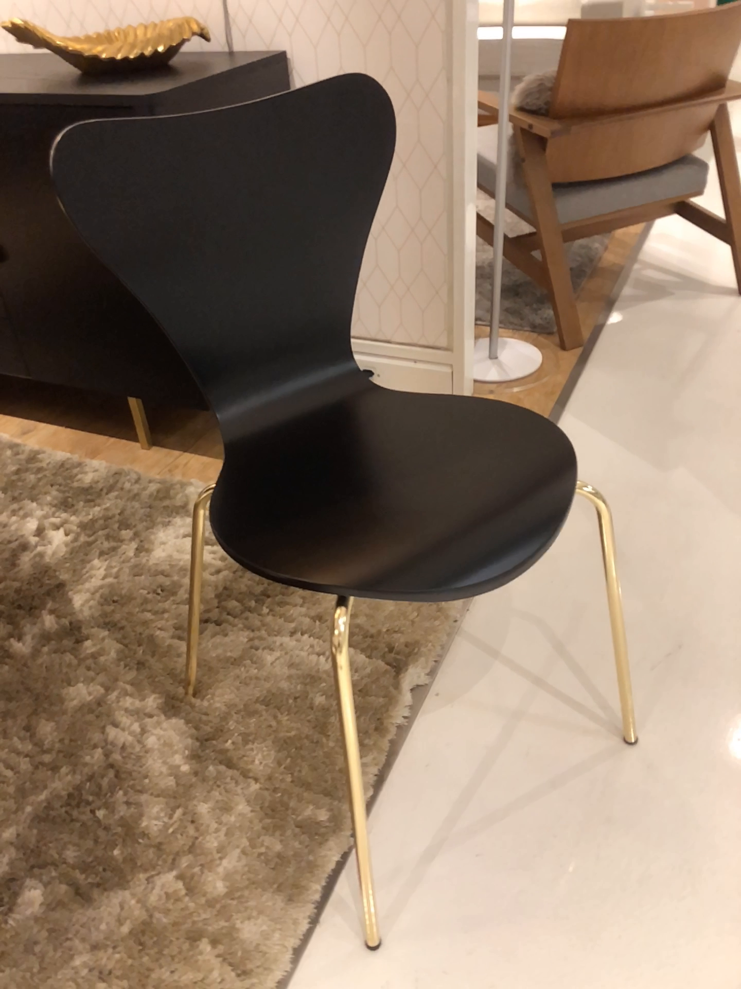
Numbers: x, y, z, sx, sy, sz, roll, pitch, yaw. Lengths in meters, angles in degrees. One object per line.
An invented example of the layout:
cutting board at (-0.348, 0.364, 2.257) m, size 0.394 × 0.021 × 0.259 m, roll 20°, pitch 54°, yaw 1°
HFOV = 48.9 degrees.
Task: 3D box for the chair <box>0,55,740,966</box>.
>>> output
chair at (0.017, -0.022, 0.923) m, size 0.501 × 0.754 × 0.503 m, roll -25°, pitch 40°, yaw -27°
